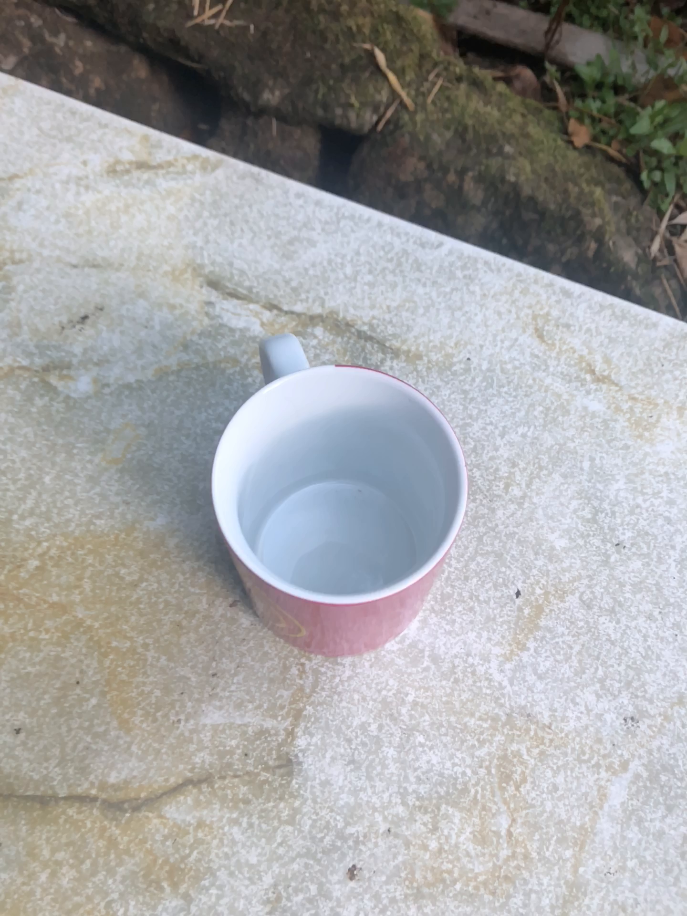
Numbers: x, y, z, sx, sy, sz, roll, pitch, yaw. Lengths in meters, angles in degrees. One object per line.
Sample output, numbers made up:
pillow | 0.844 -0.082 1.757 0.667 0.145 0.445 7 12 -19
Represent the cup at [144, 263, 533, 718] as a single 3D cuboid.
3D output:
cup | -0.006 0.016 0.265 0.076 0.089 0.116 -20 70 -10
